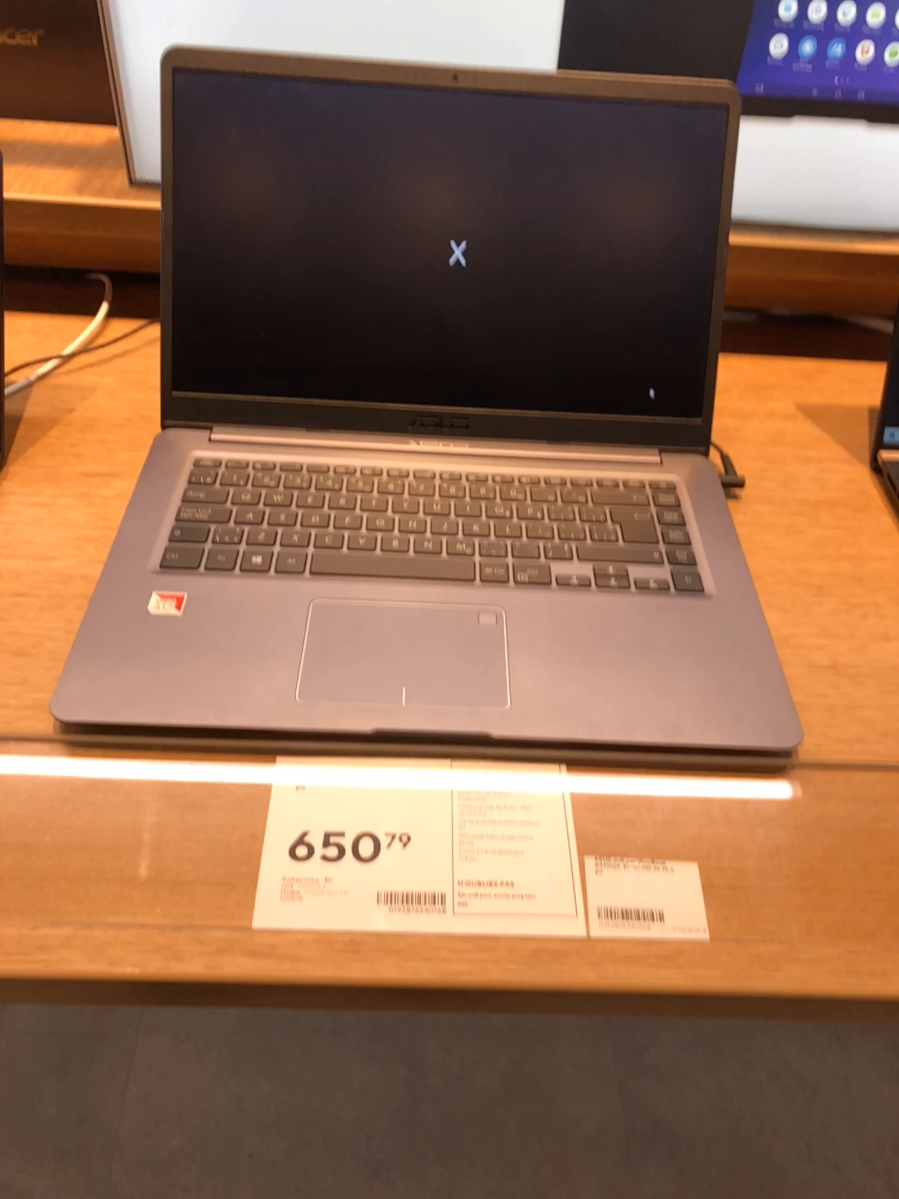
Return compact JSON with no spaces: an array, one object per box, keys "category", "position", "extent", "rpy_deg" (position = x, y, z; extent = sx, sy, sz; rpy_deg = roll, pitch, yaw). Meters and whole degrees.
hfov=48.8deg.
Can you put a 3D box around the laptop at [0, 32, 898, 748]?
[{"category":"laptop","position":[-0.004,-0.140,0.540],"extent":[0.352,0.177,0.392],"rpy_deg":[2,44,-3]}]
